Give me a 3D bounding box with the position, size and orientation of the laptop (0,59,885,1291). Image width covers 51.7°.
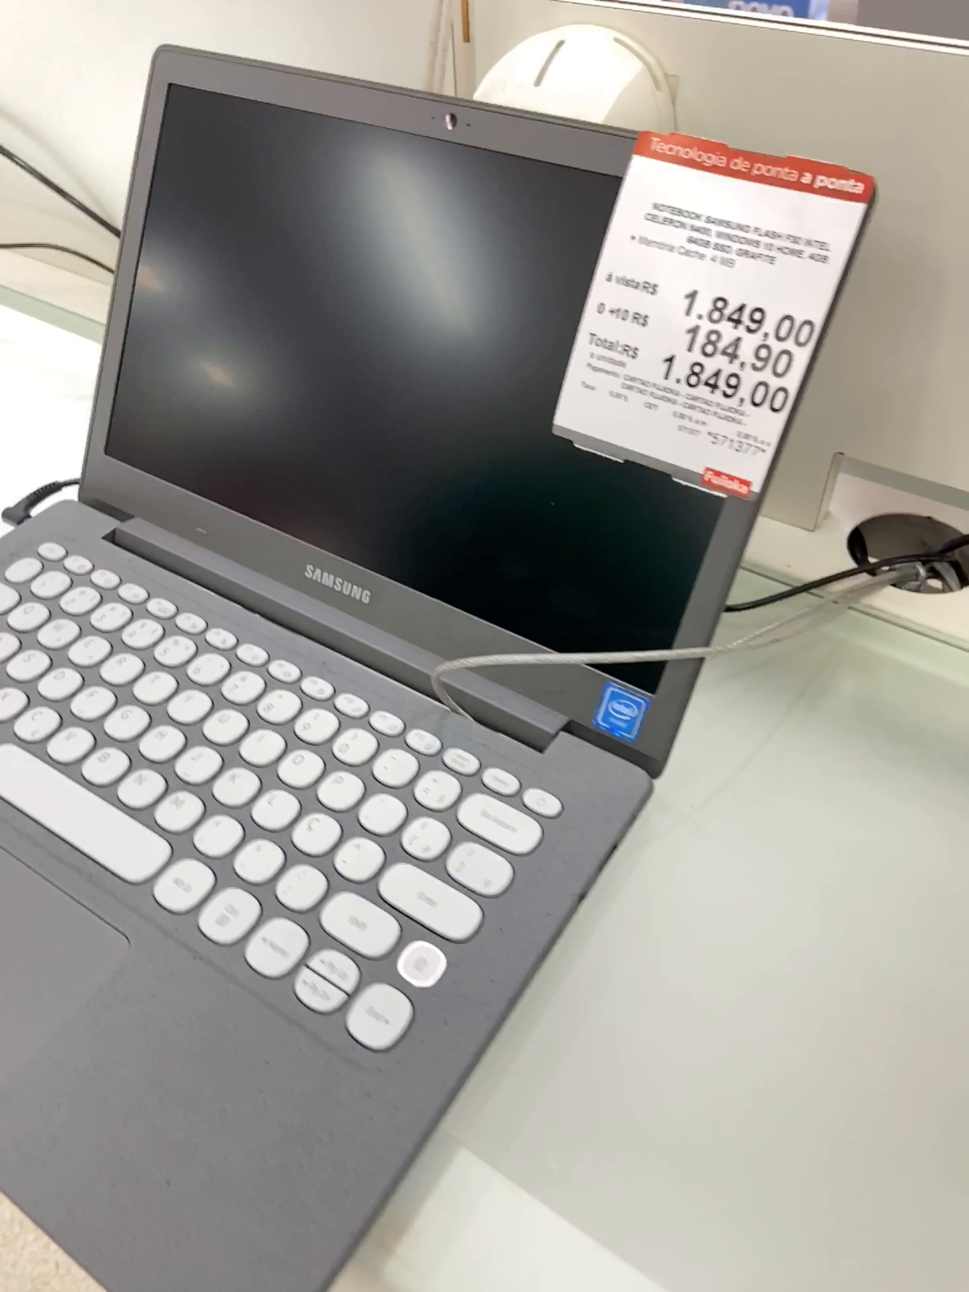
[{"bbox_3d":[-0.102,-0.042,0.343,0.325,0.172,0.342,24,51,25],"label":"laptop"}]
